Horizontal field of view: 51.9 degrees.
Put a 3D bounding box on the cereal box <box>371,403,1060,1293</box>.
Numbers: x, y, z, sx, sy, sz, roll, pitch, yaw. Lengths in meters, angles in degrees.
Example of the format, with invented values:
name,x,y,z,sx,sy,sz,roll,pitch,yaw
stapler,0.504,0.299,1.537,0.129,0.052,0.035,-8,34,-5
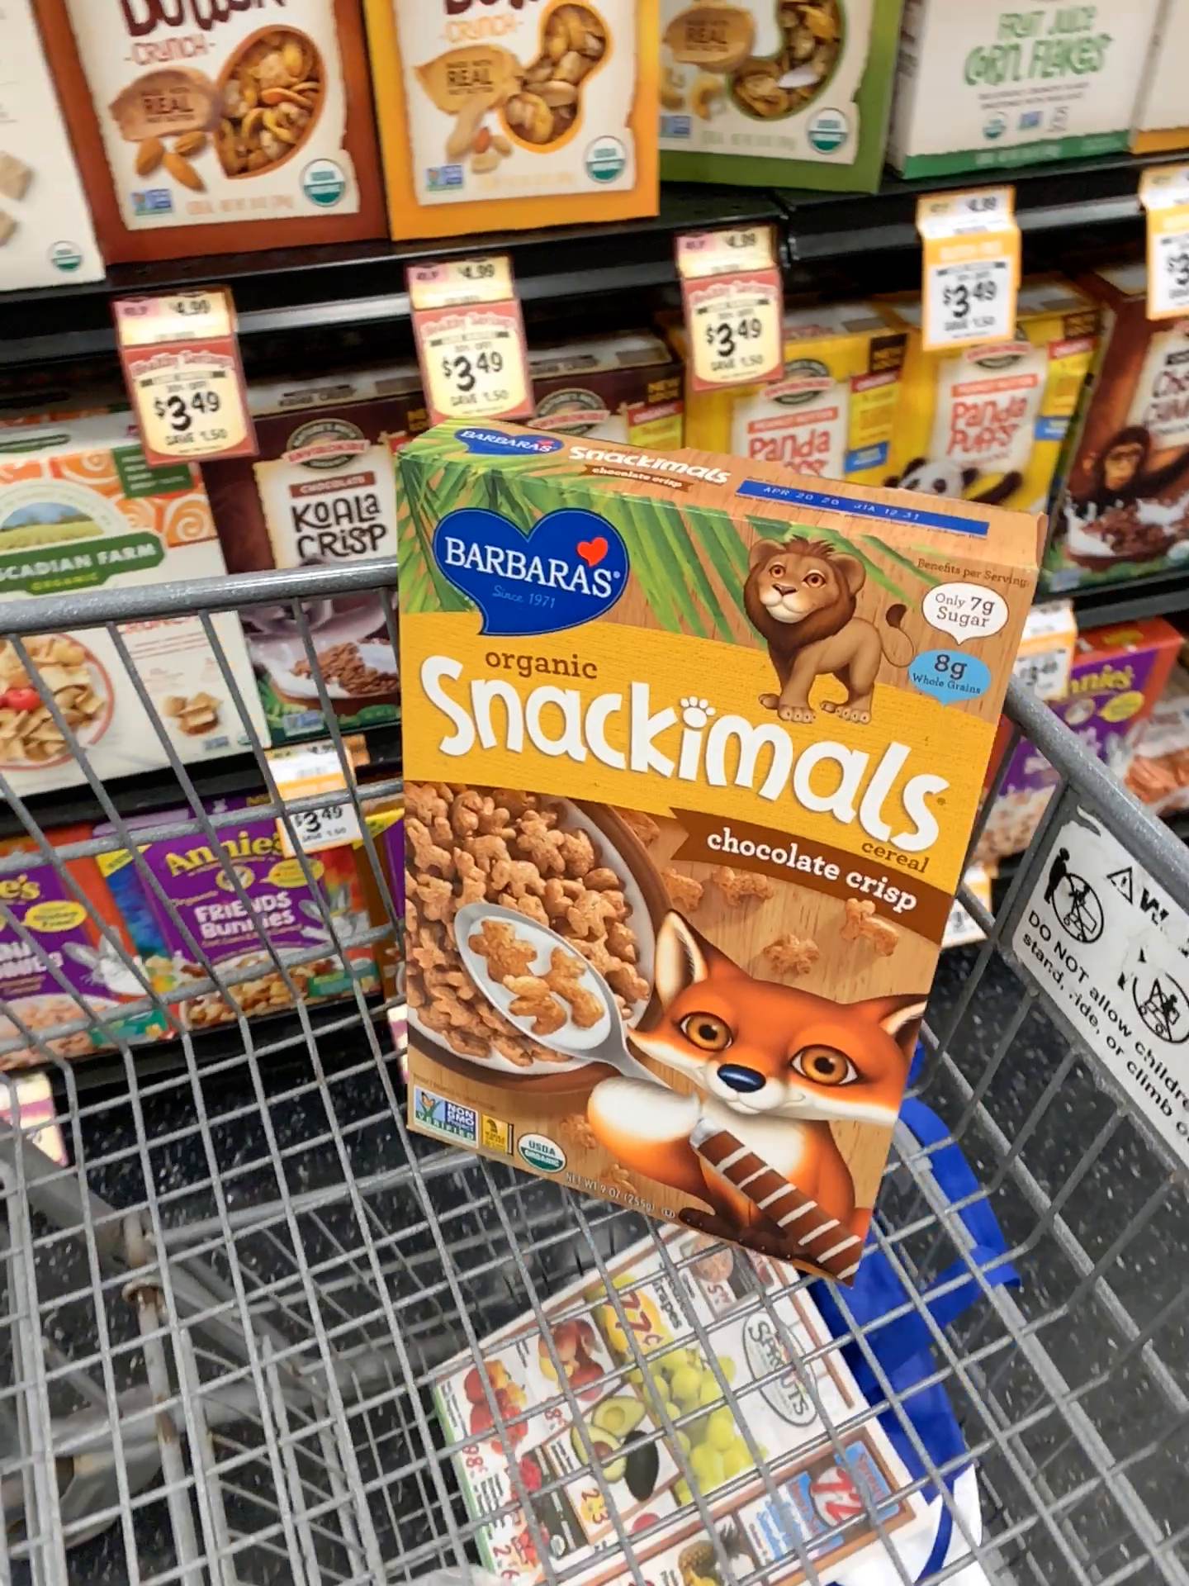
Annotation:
name,x,y,z,sx,sy,sz,roll,pitch,yaw
cereal box,0.023,0.028,0.402,0.180,0.269,0.050,14,33,15
